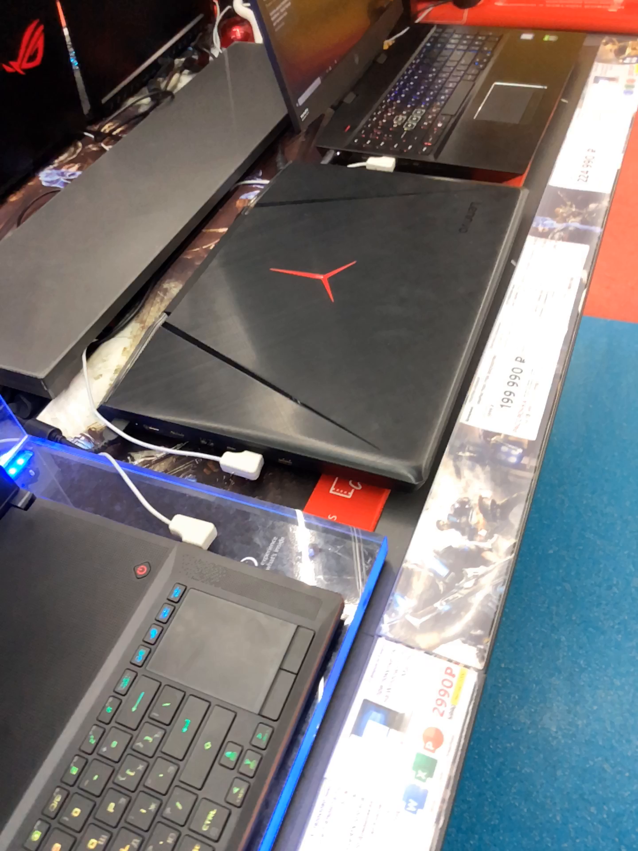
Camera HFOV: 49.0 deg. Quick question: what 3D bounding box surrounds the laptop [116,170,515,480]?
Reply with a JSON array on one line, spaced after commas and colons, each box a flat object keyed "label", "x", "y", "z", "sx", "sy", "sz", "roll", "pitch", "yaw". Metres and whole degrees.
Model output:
[{"label": "laptop", "x": 0.020, "y": -0.133, "z": 0.682, "sx": 0.269, "sy": 0.005, "sz": 0.401, "roll": 12, "pitch": 51, "yaw": 17}]
